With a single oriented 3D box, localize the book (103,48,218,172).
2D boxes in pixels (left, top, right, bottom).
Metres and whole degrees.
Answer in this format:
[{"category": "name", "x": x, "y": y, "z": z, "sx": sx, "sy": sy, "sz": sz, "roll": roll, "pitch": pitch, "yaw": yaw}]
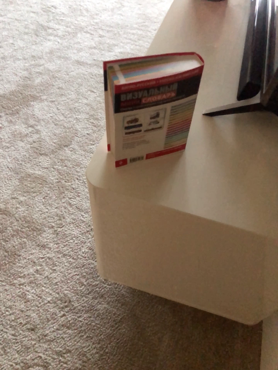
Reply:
[{"category": "book", "x": 0.024, "y": -0.116, "z": 0.500, "sx": 0.150, "sy": 0.179, "sz": 0.060, "roll": -13, "pitch": 57, "yaw": -15}]
